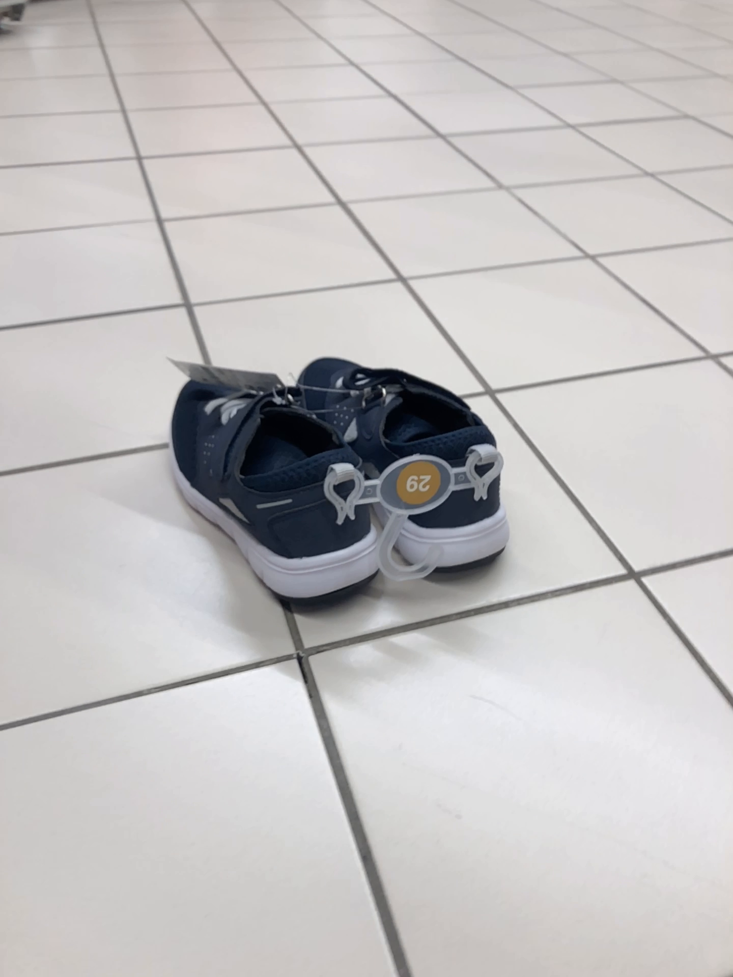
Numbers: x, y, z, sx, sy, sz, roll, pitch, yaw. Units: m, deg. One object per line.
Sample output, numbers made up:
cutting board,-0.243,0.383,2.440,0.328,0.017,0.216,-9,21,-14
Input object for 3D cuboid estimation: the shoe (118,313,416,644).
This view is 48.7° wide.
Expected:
shoe,-0.065,-0.017,0.477,0.081,0.080,0.198,-22,45,-26

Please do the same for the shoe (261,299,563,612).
shoe,0.017,-0.031,0.504,0.084,0.084,0.196,-20,44,-25
